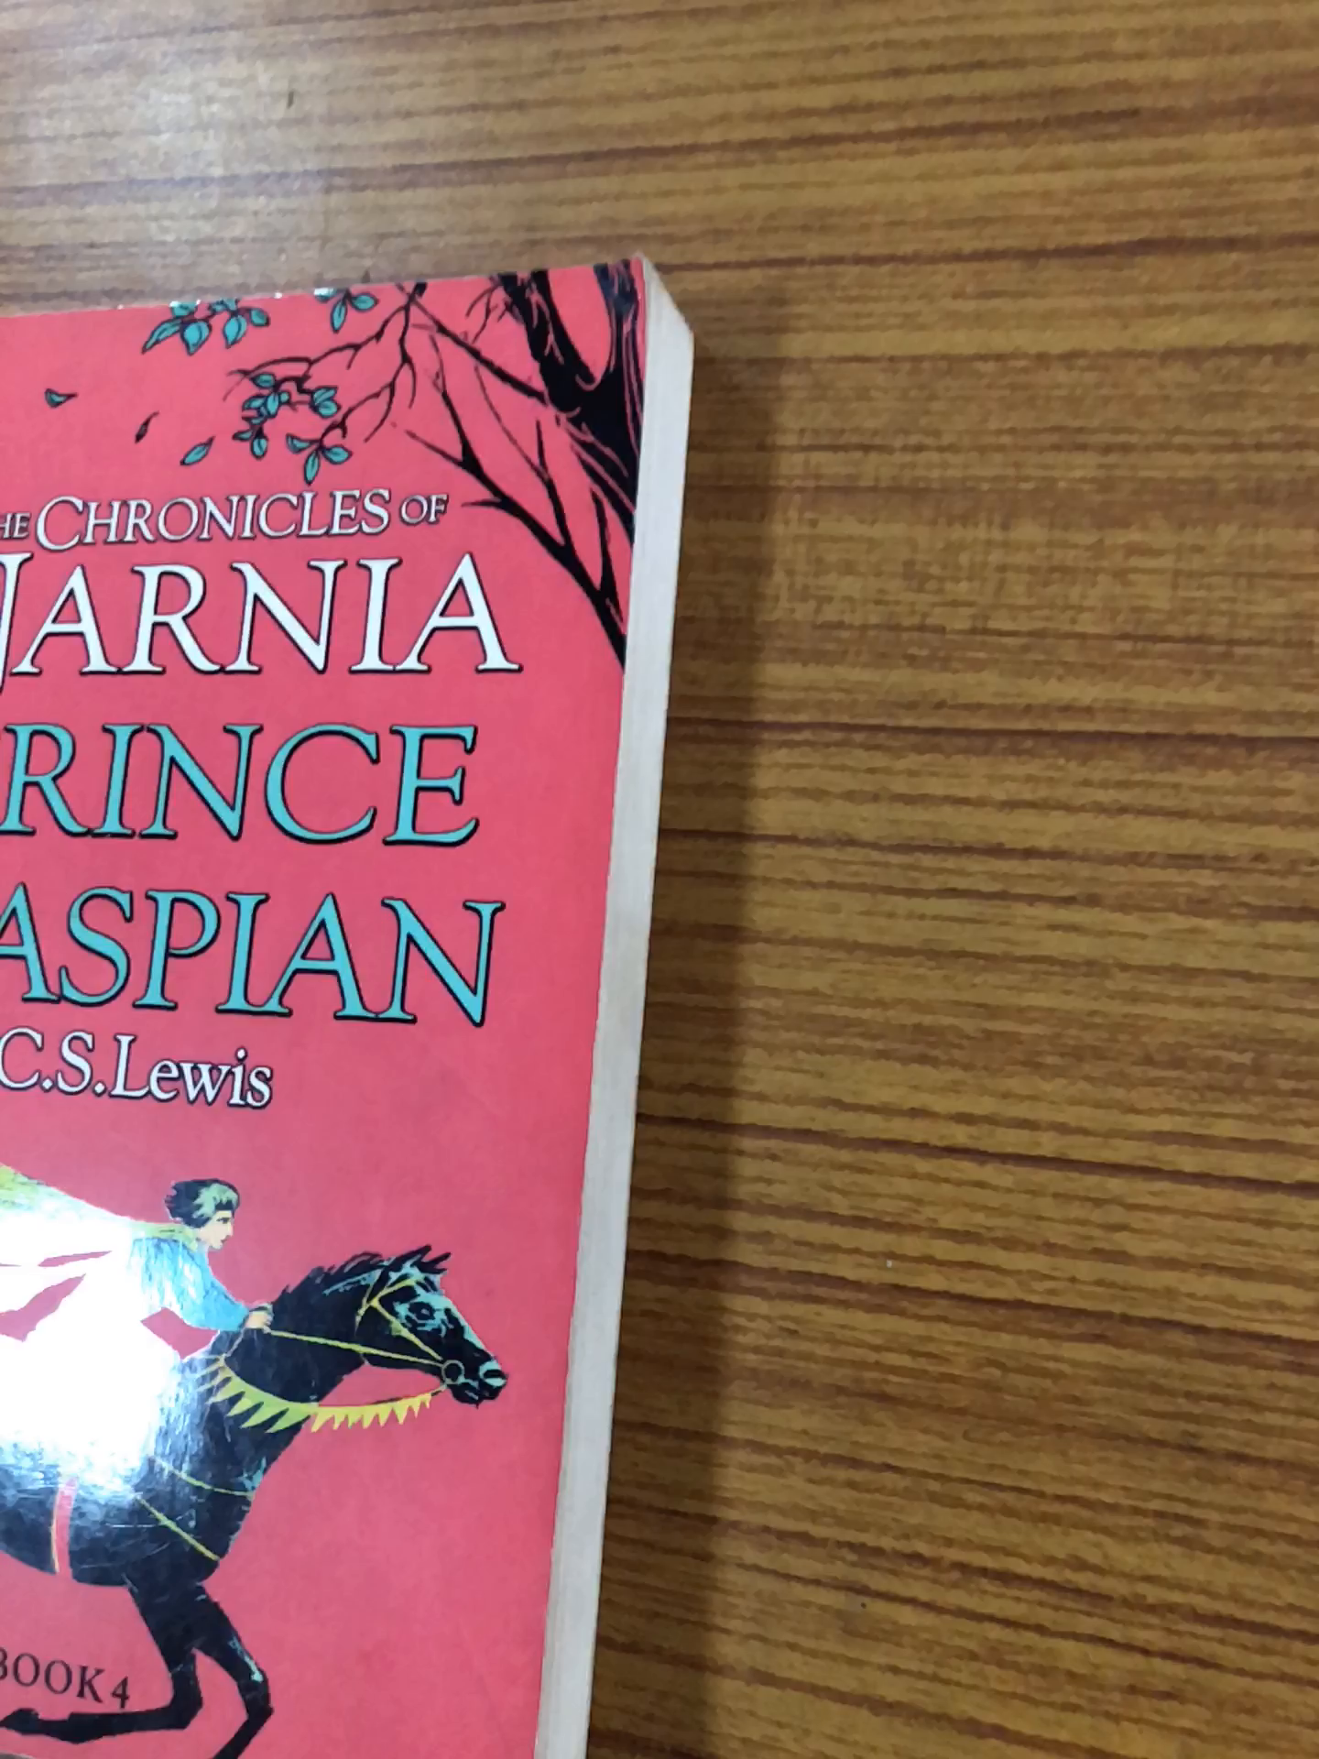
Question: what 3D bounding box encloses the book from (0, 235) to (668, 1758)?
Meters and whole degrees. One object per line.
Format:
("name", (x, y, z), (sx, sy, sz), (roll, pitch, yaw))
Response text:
("book", (-0.072, 0.016, 0.199), (0.130, 0.030, 0.190), (2, 82, 16))
